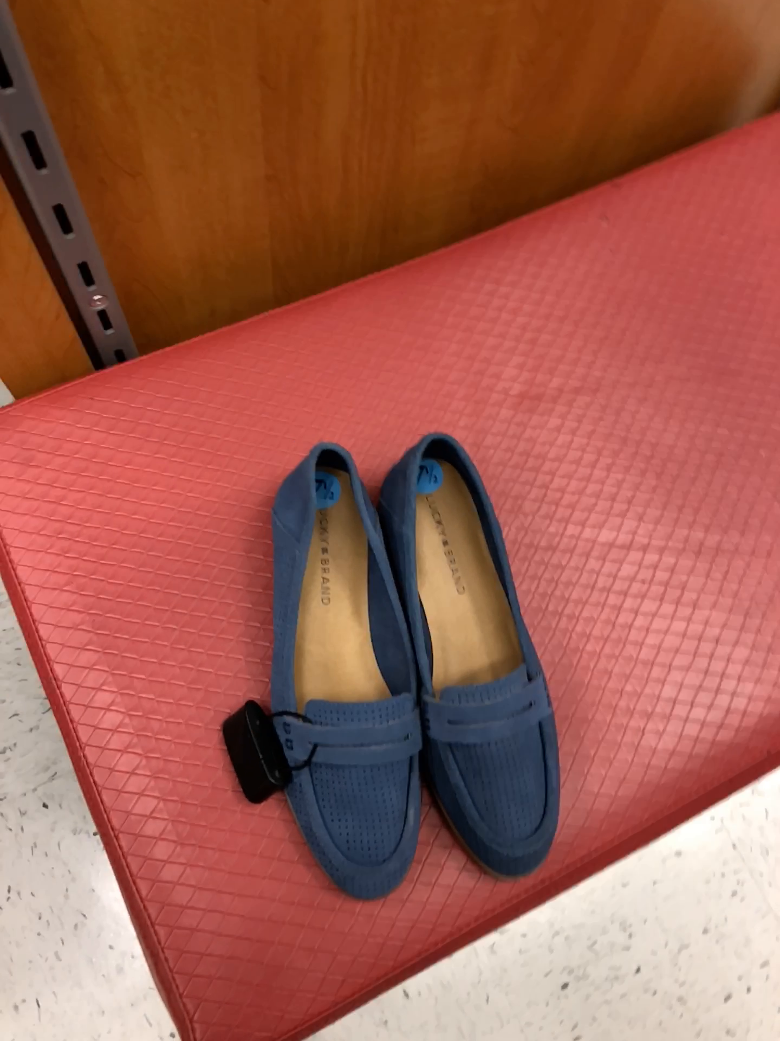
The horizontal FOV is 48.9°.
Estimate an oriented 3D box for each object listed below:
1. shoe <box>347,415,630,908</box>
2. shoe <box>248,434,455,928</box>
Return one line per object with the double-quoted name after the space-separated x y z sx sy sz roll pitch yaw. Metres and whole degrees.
0.047 0.075 0.503 0.085 0.069 0.258 -12 73 -9 "shoe"
-0.028 0.084 0.489 0.082 0.069 0.254 -5 72 -7 "shoe"
